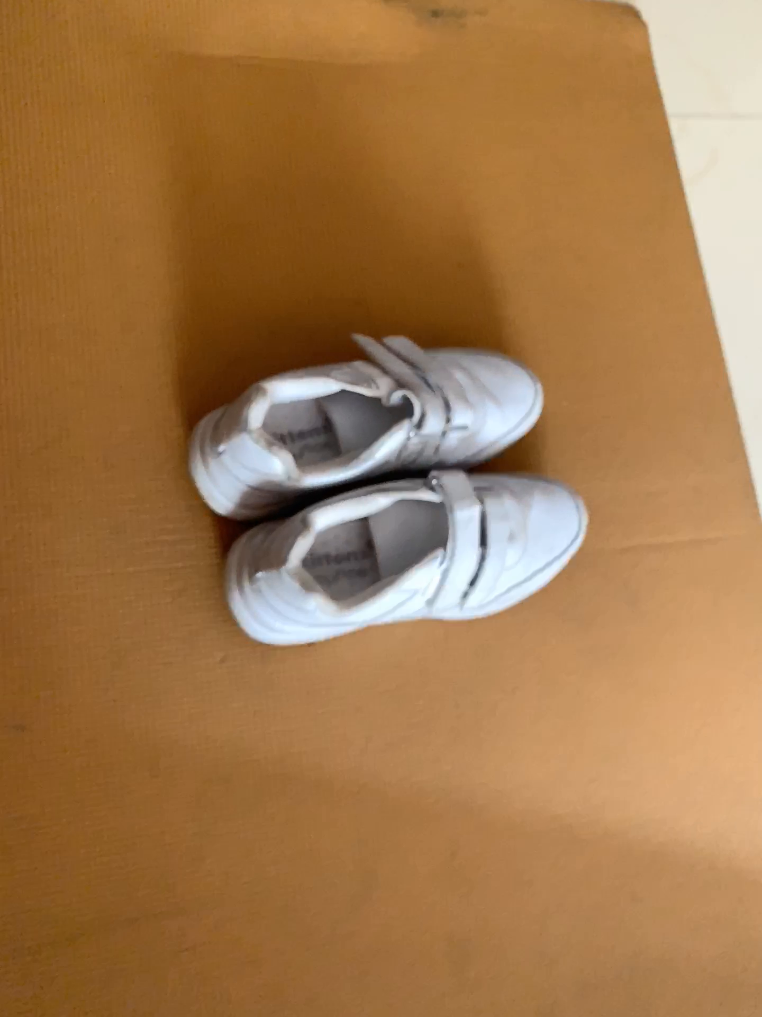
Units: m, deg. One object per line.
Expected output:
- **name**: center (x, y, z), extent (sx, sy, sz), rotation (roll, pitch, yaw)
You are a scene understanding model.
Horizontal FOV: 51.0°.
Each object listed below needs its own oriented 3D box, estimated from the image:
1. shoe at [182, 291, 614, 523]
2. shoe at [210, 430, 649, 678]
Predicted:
- **shoe**: center (0.010, -0.066, 0.507), extent (0.250, 0.070, 0.090), rotation (-12, 80, -17)
- **shoe**: center (0.025, 0.029, 0.499), extent (0.240, 0.100, 0.090), rotation (-12, 80, -17)
